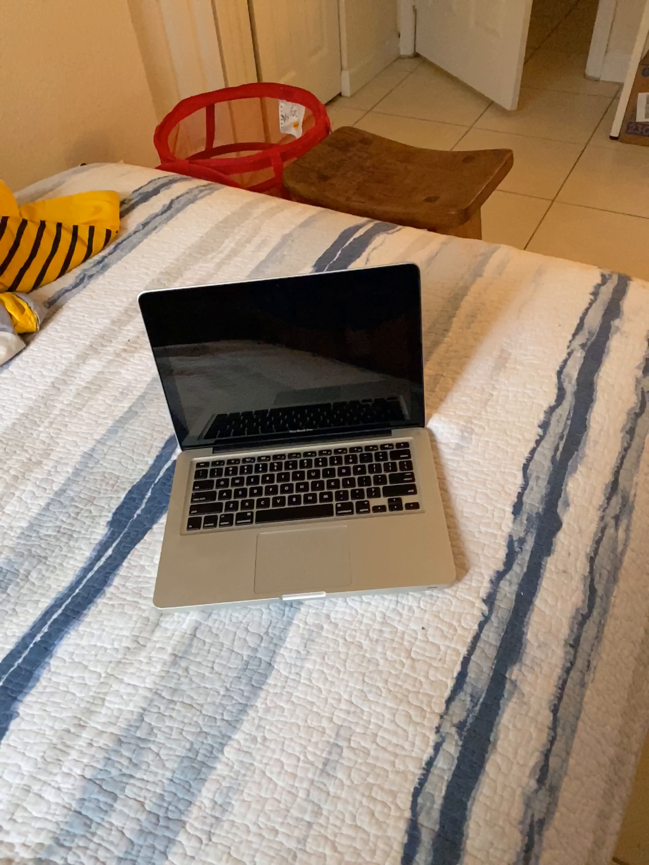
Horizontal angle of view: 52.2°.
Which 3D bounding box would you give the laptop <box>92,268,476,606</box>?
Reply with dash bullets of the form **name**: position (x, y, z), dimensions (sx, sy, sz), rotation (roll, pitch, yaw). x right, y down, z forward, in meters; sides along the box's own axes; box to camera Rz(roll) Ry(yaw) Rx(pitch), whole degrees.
- **laptop**: position (-0.035, 0.000, 0.715), dimensions (0.318, 0.199, 0.279), rotation (-5, 46, 2)
